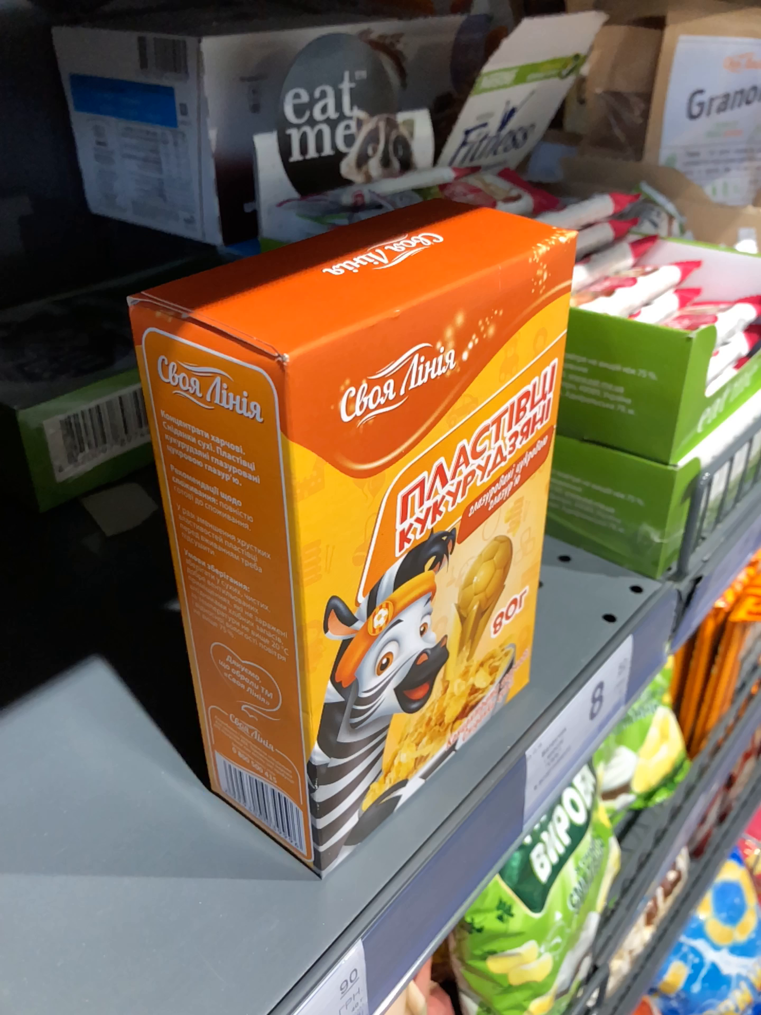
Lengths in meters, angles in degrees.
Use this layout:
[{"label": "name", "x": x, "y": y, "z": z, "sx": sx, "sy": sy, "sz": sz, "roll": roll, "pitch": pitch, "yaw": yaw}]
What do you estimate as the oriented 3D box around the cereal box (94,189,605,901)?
[{"label": "cereal box", "x": 0.000, "y": 0.007, "z": 0.242, "sx": 0.050, "sy": 0.159, "sz": 0.121, "roll": 26, "pitch": 41, "yaw": 34}]
